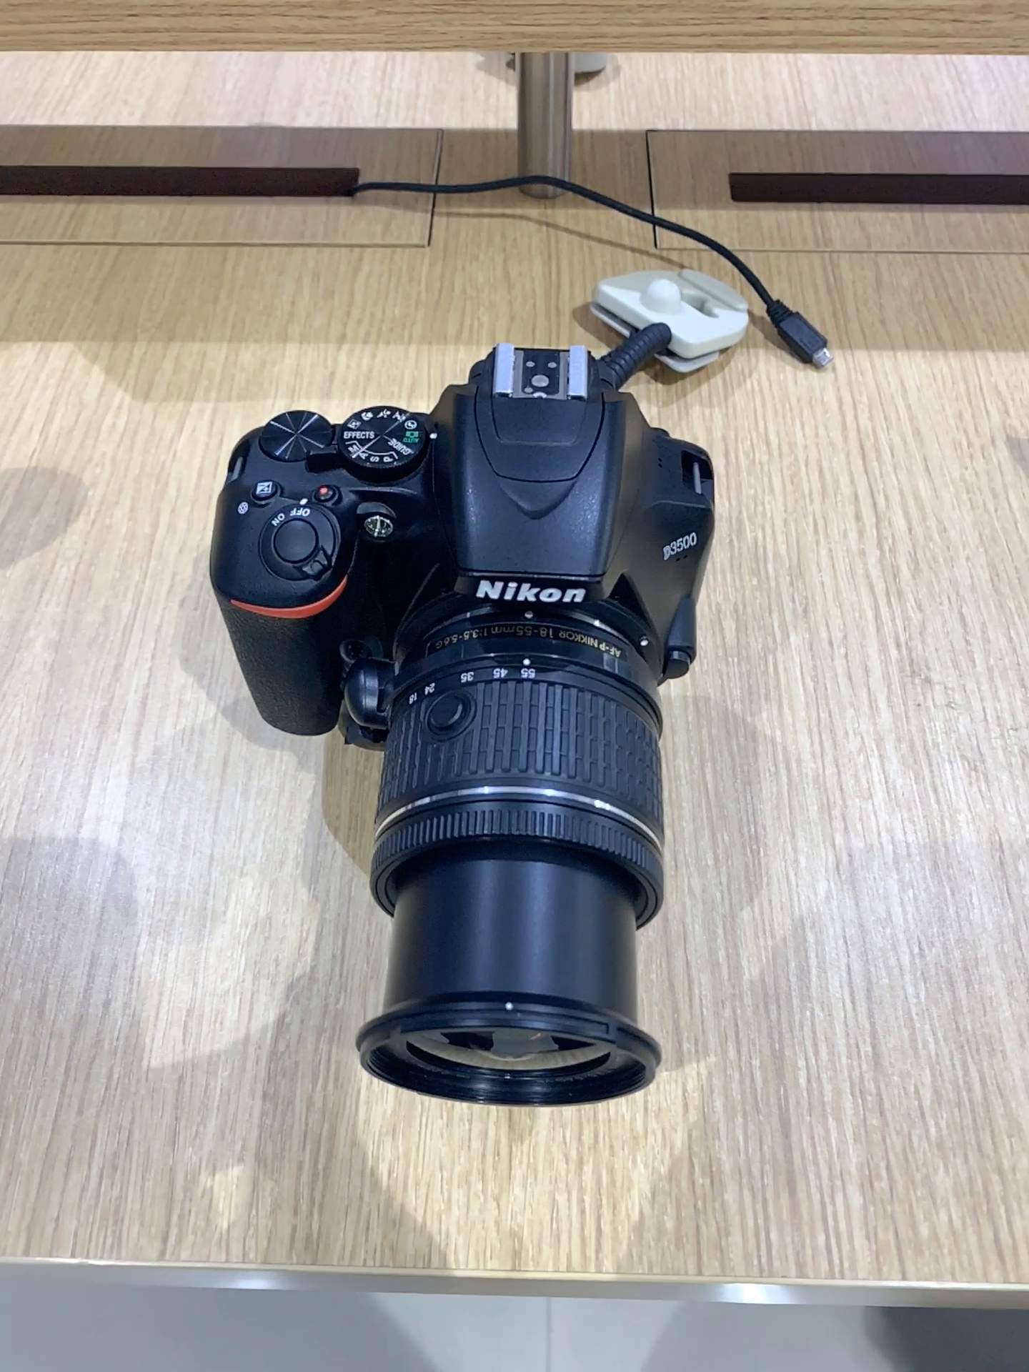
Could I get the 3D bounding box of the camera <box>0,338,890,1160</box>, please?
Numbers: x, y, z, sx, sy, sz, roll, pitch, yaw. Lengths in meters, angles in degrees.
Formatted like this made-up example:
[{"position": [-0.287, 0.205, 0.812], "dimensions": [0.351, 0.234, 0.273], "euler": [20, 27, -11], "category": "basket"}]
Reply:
[{"position": [-0.007, 0.013, 0.213], "dimensions": [0.117, 0.095, 0.131], "euler": [2, 56, 2], "category": "camera"}]
